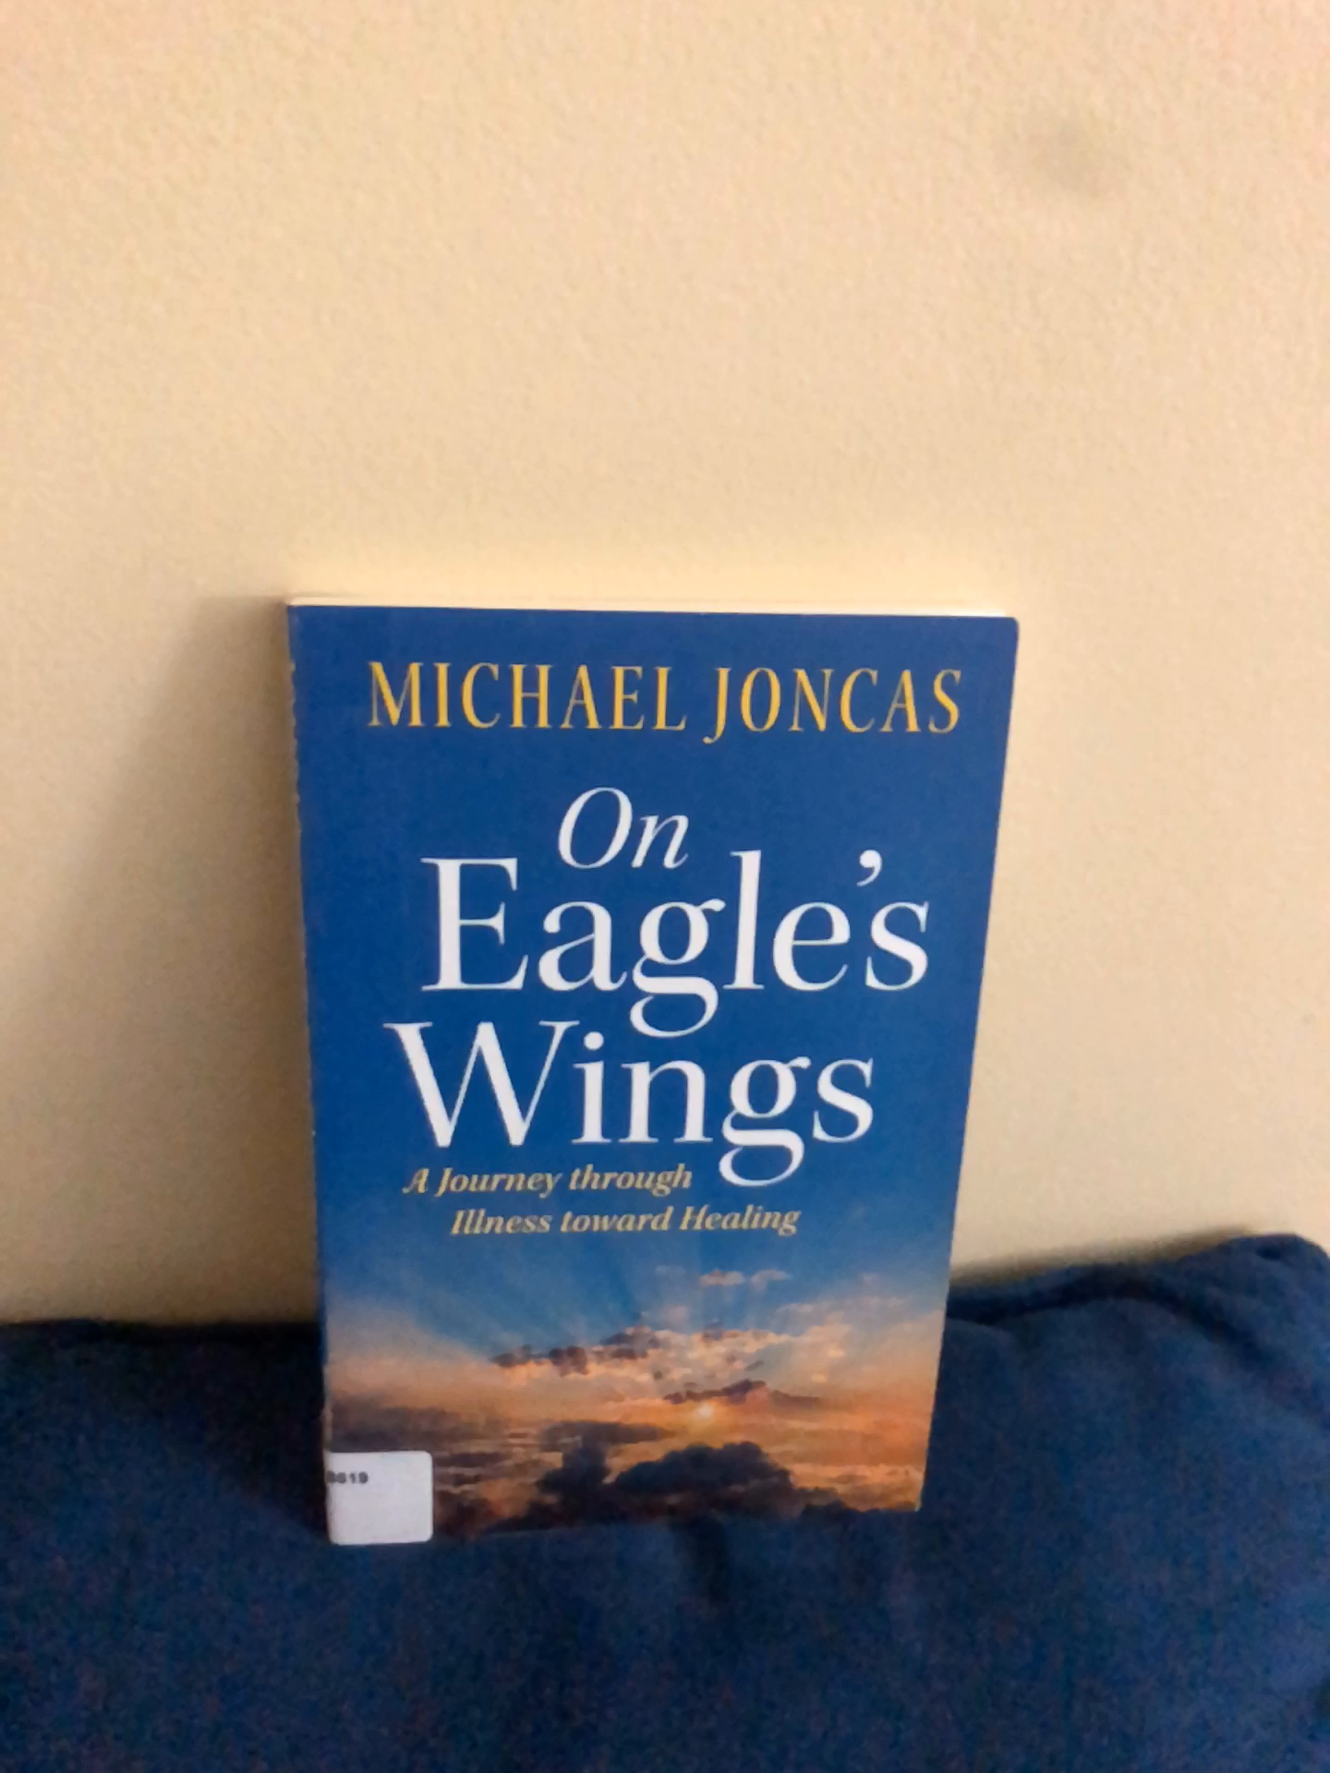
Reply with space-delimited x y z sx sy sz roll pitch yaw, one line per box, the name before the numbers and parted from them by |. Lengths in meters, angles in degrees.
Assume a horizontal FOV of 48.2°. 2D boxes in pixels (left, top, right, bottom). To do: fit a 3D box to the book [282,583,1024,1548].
book | -0.005 0.045 0.315 0.139 0.210 0.014 0 18 -8
